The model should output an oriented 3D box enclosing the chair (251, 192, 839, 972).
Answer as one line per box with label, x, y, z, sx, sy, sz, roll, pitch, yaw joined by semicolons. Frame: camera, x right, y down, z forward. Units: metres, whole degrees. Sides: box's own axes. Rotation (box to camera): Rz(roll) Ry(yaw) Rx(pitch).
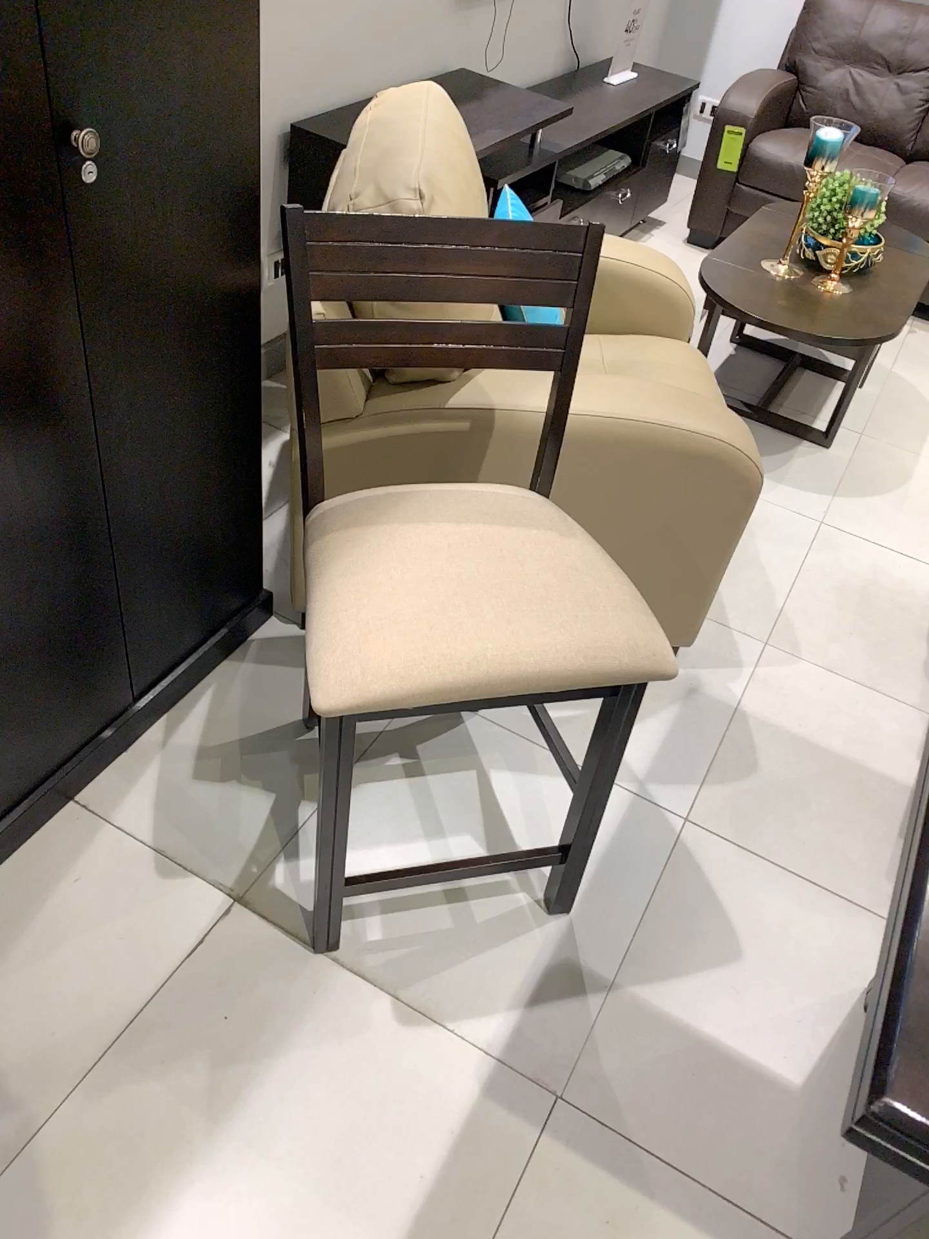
chair;-0.011;-0.032;1.382;0.520;0.916;0.592;-5;44;-16
